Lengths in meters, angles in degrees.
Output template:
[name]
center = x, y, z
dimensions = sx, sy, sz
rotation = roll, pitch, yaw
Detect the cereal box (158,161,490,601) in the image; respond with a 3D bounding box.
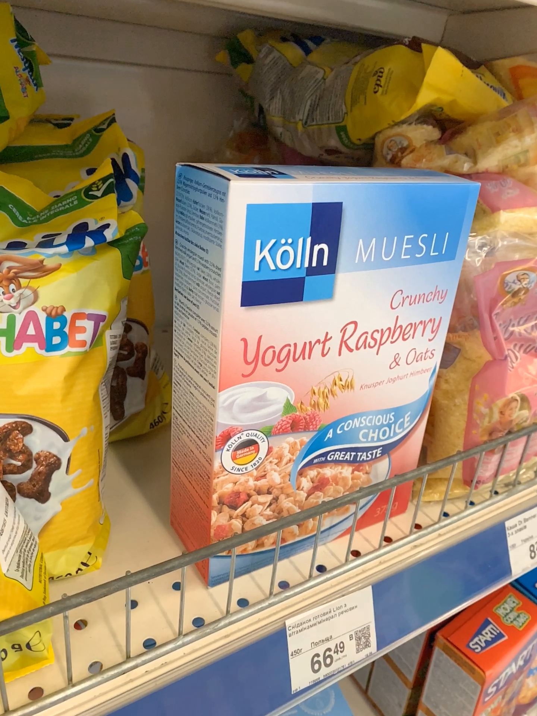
[cereal box]
center = 0.022, 0.008, 0.306
dimensions = 0.150, 0.208, 0.060
rotation = -10, 28, -29
